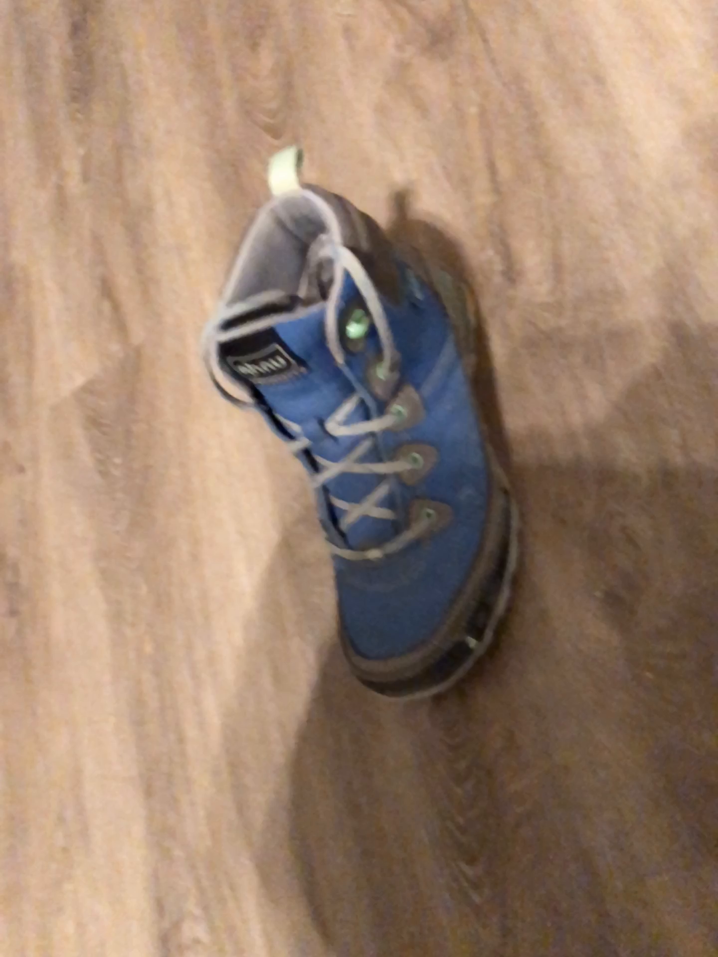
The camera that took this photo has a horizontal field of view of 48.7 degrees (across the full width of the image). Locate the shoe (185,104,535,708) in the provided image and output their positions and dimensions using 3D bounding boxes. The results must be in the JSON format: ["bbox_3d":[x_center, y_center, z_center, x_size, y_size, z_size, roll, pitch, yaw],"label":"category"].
[{"bbox_3d":[0.003,-0.019,0.395,0.100,0.139,0.250,-11,73,32],"label":"shoe"}]
